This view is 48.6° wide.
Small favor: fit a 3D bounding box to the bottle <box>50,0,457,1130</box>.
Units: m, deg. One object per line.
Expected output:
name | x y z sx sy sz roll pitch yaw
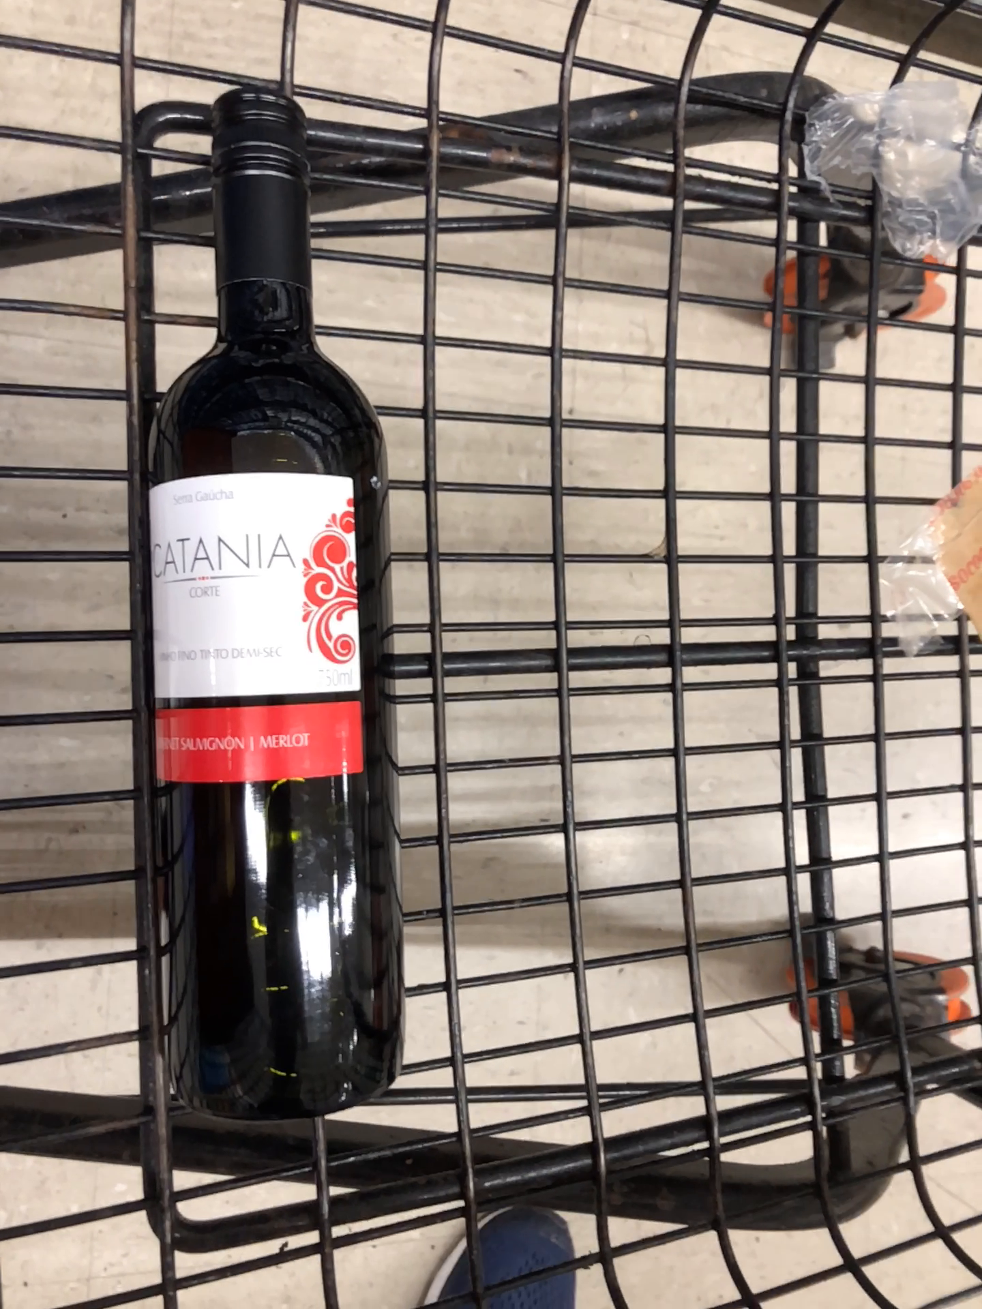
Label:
bottle | -0.068 -0.027 0.326 0.080 0.070 0.300 -3 90 22
